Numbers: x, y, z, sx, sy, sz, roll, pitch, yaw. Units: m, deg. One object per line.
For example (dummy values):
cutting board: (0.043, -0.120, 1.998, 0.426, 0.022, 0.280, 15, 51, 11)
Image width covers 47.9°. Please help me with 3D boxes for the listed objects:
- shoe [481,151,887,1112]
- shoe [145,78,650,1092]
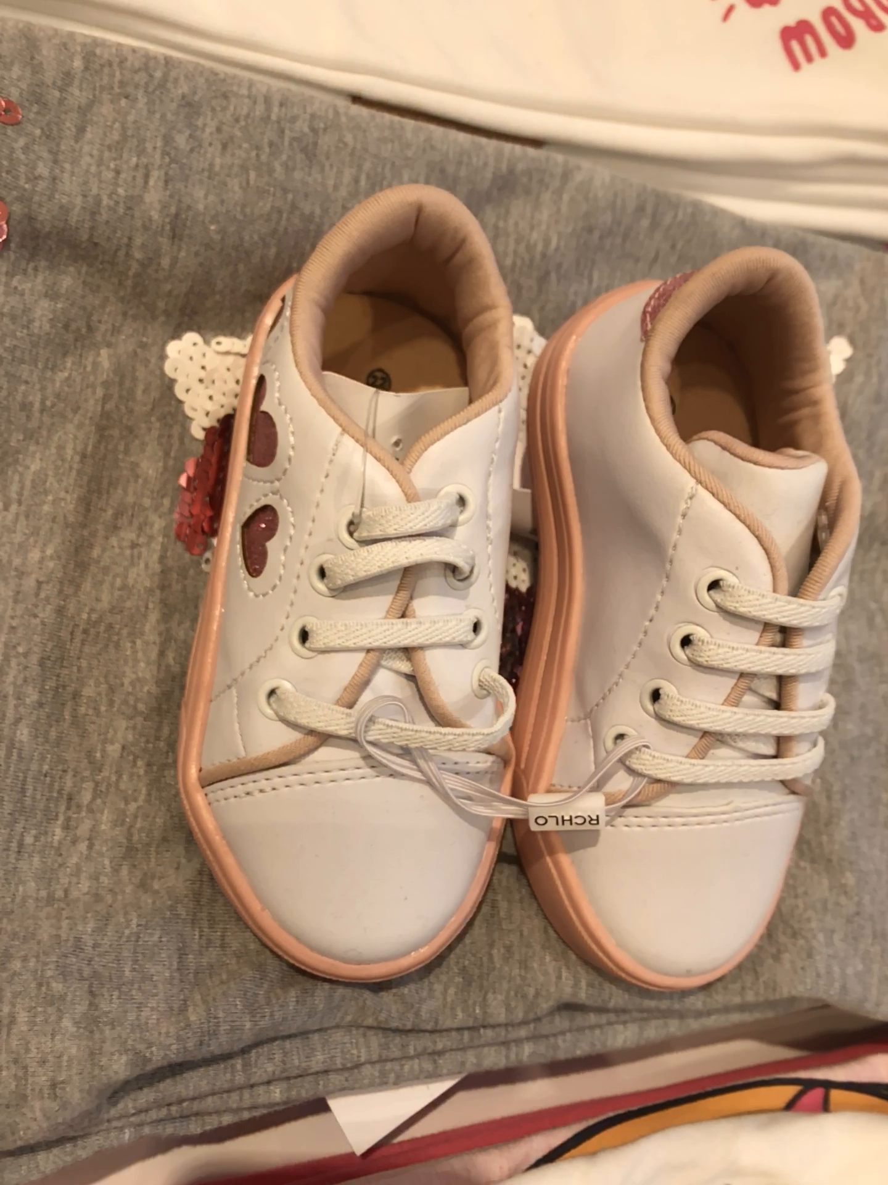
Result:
shoe: (0.059, 0.005, 0.202, 0.070, 0.070, 0.150, -2, 86, -23)
shoe: (-0.013, 0.000, 0.193, 0.070, 0.070, 0.150, 4, 87, -22)
